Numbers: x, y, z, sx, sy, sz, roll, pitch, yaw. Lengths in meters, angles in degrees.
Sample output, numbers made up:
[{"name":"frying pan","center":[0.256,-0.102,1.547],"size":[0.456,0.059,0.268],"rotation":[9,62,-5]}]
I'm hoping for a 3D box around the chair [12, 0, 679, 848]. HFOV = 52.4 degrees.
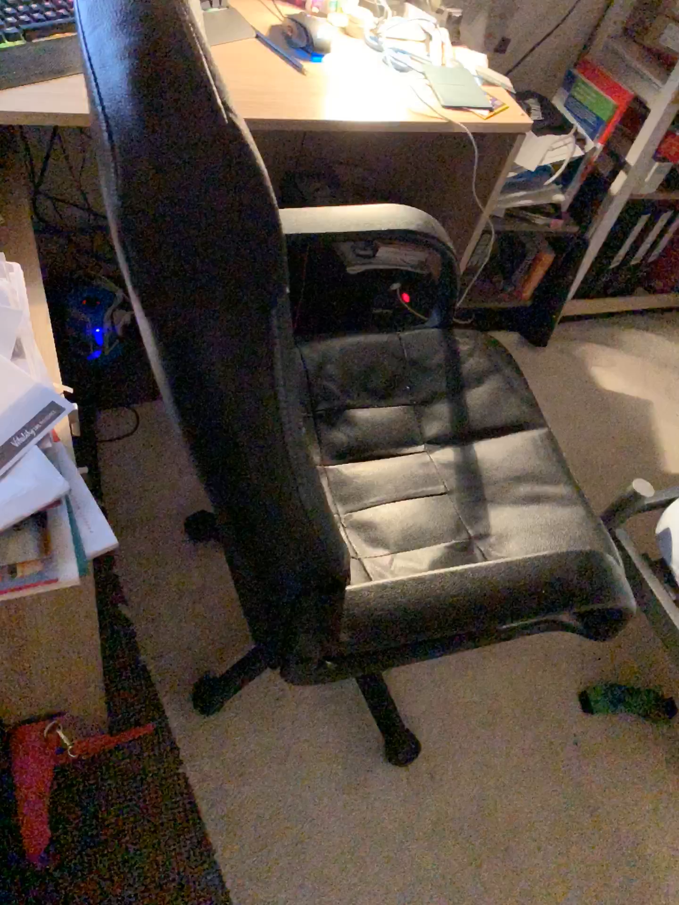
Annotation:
[{"name":"chair","center":[0.048,-0.014,0.956],"size":[0.651,1.161,0.714],"rotation":[-10,58,-18]}]
